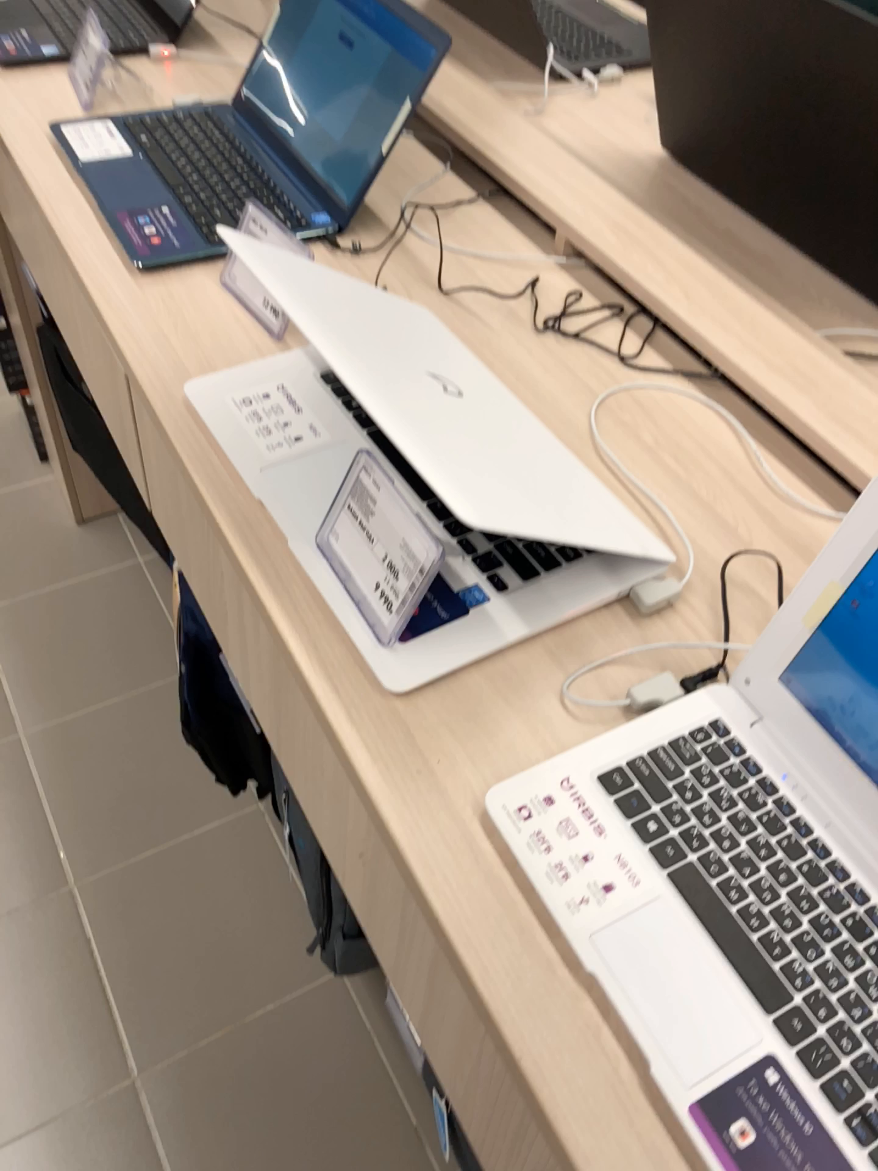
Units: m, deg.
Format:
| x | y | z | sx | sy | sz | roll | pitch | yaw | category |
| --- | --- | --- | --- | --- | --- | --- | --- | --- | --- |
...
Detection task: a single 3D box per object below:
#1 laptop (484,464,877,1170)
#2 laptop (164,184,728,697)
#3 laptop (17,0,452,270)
| x | y | z | sx | sy | sz | roll | pitch | yaw | category |
| --- | --- | --- | --- | --- | --- | --- | --- | --- | --- |
| 0.196 | 0.113 | 0.445 | 0.231 | 0.168 | 0.264 | -18 | 51 | -20 | laptop |
| -0.016 | -0.127 | 0.680 | 0.223 | 0.115 | 0.351 | -23 | 53 | -21 | laptop |
| -0.205 | -0.503 | 0.977 | 0.319 | 0.162 | 0.310 | -20 | 53 | -22 | laptop |
